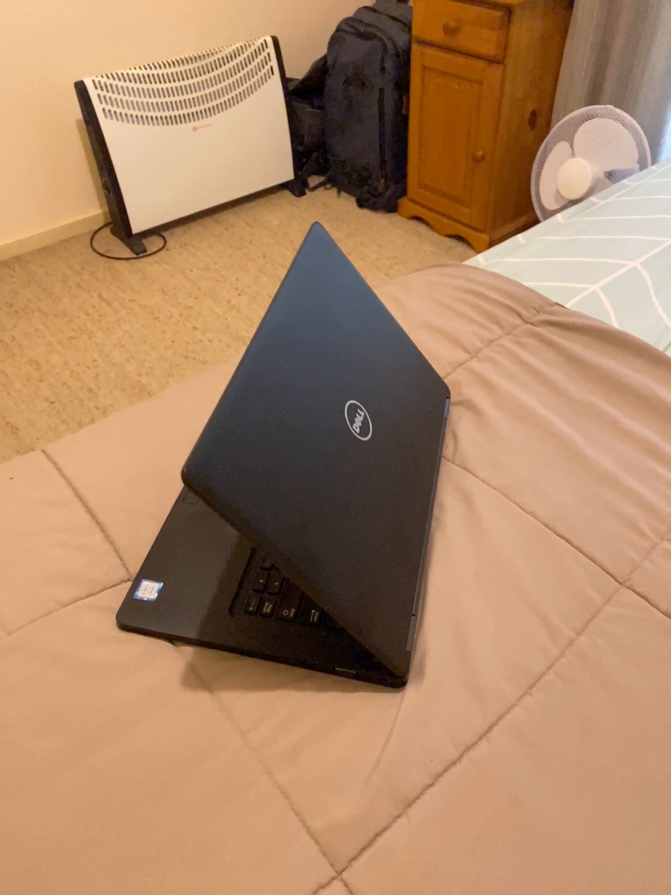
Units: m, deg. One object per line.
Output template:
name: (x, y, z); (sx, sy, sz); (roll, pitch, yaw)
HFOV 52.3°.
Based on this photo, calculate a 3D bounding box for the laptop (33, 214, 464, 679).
laptop: (-0.030, -0.026, 0.571); (0.226, 0.183, 0.336); (8, 44, 9)
